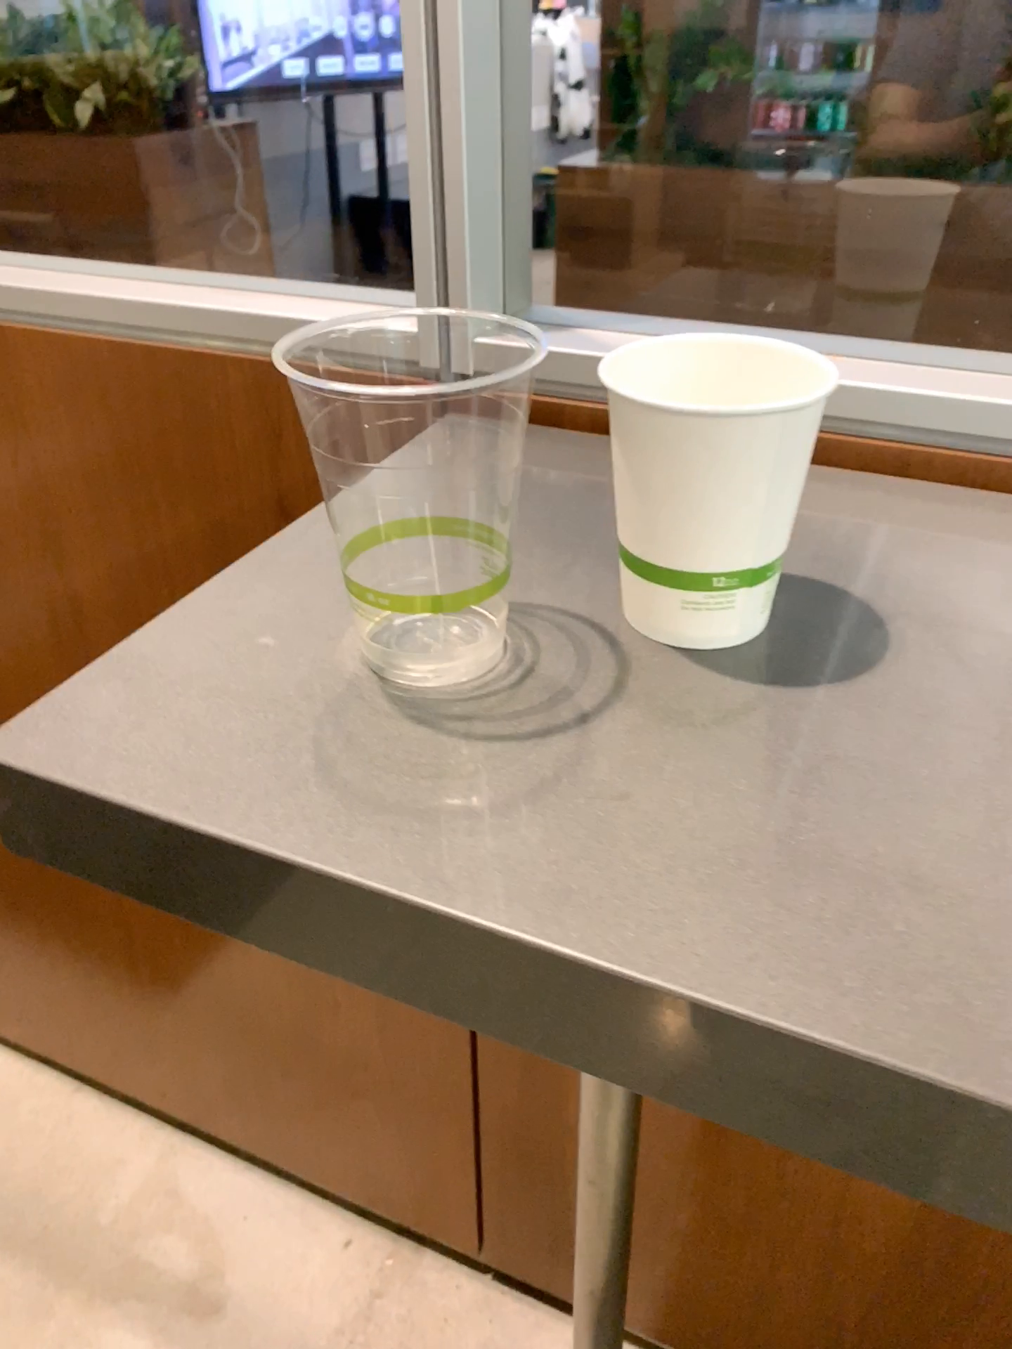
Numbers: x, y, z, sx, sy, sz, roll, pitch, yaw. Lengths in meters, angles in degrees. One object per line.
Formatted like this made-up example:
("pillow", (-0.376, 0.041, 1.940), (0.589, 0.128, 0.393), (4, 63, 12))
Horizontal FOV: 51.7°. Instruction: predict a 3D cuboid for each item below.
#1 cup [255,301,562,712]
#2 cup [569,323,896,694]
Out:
("cup", (-0.038, -0.067, 0.400), (0.090, 0.119, 0.091), (0, 33, 0))
("cup", (0.083, -0.070, 0.421), (0.080, 0.109, 0.091), (-15, 35, -21))
